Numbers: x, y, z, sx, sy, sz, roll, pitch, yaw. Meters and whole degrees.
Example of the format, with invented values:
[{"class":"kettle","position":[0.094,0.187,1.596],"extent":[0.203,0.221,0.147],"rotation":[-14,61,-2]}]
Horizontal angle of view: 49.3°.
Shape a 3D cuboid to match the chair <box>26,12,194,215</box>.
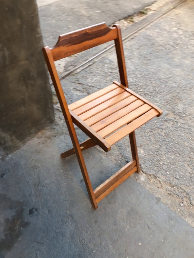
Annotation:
[{"class":"chair","position":[0.045,-0.050,1.150],"extent":[0.482,0.854,0.501],"rotation":[-33,56,-29]}]
